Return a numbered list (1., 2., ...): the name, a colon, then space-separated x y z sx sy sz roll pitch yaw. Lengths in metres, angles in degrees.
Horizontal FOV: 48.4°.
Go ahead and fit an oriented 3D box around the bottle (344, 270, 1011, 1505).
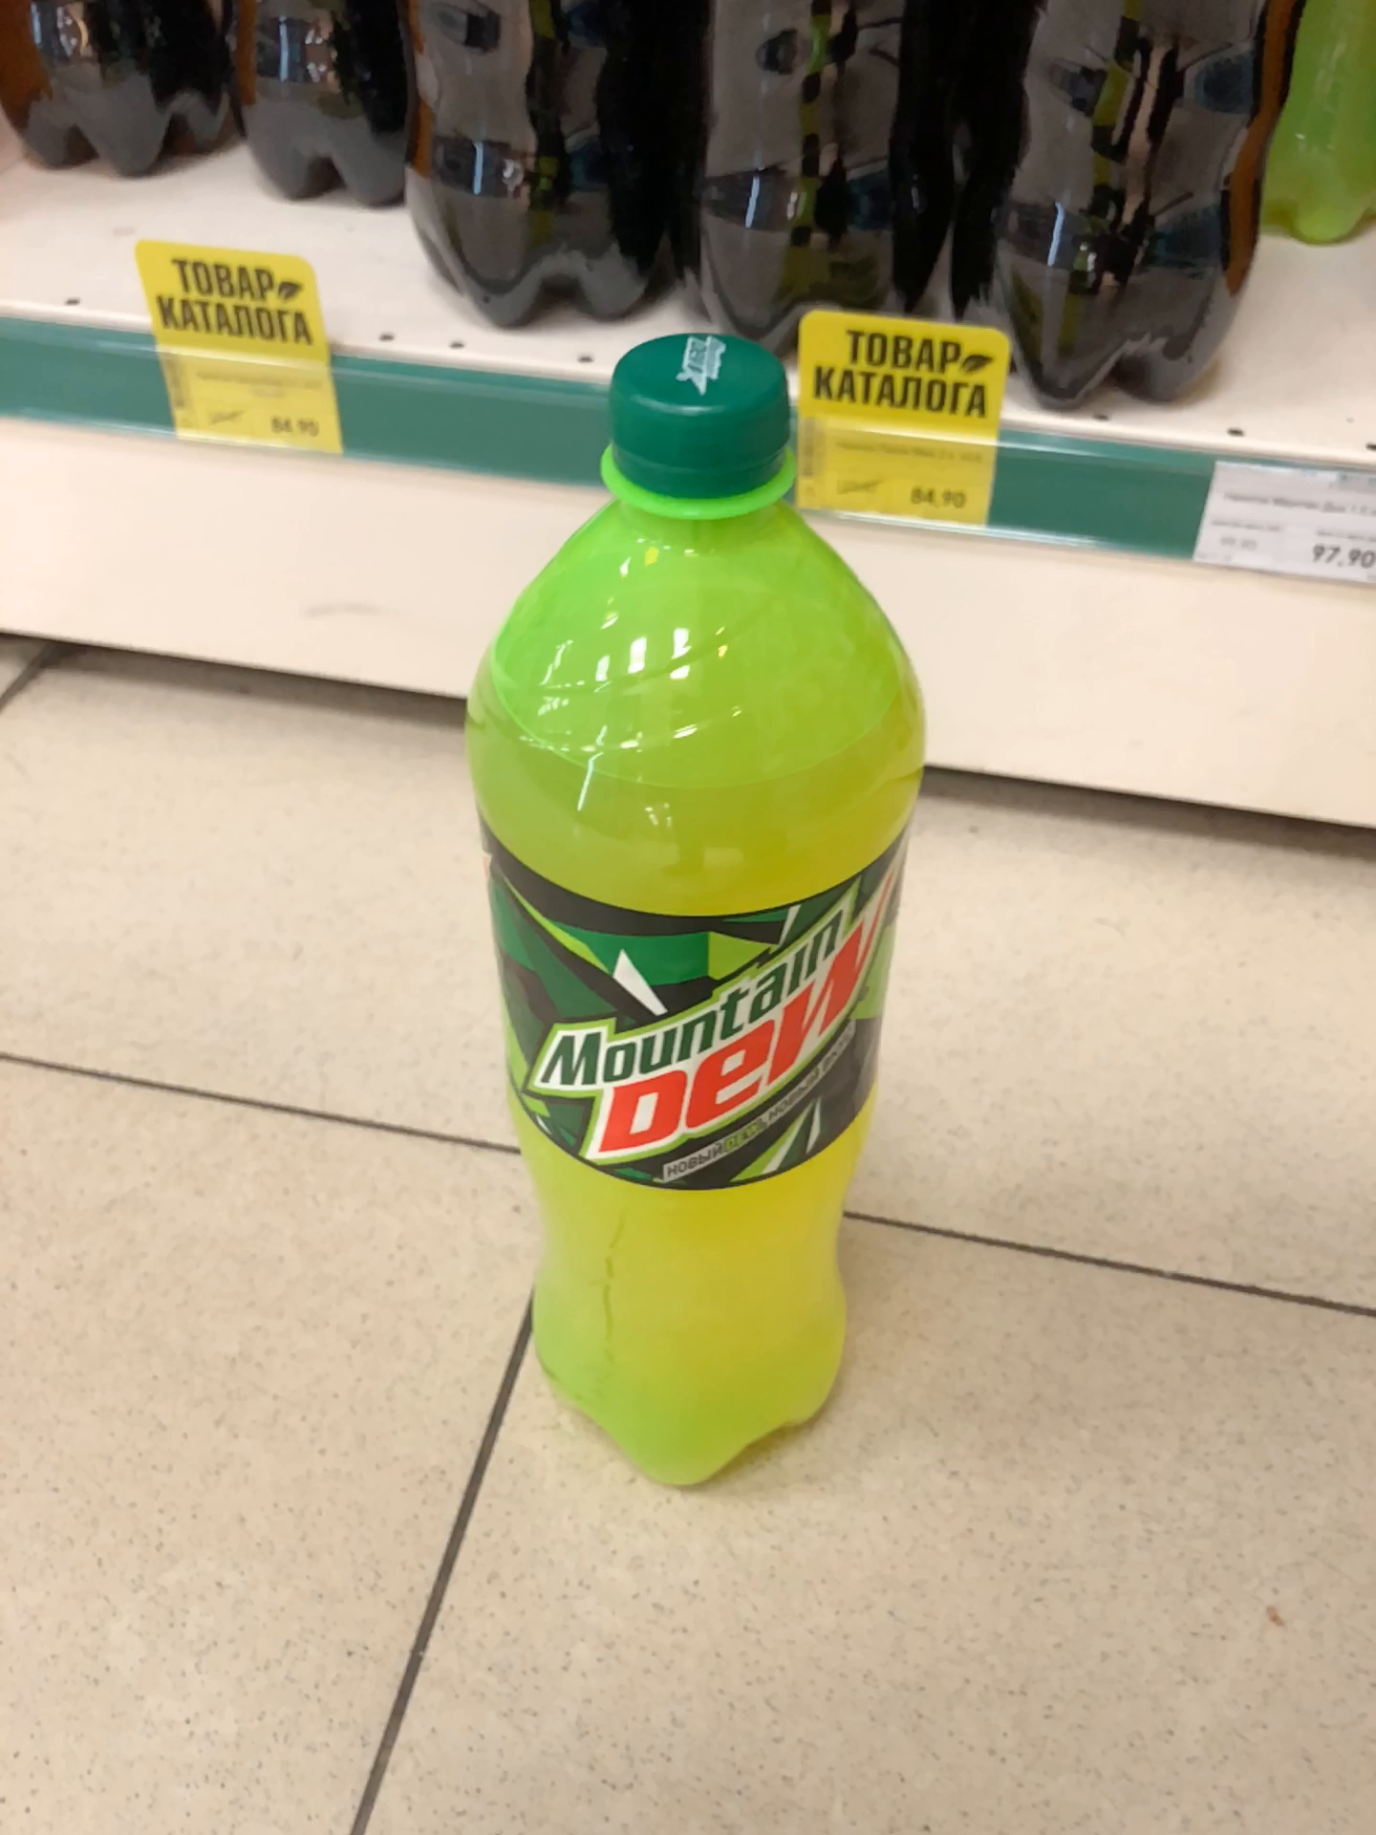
1. bottle: 0.002 0.019 0.355 0.095 0.294 0.101 0 45 0
